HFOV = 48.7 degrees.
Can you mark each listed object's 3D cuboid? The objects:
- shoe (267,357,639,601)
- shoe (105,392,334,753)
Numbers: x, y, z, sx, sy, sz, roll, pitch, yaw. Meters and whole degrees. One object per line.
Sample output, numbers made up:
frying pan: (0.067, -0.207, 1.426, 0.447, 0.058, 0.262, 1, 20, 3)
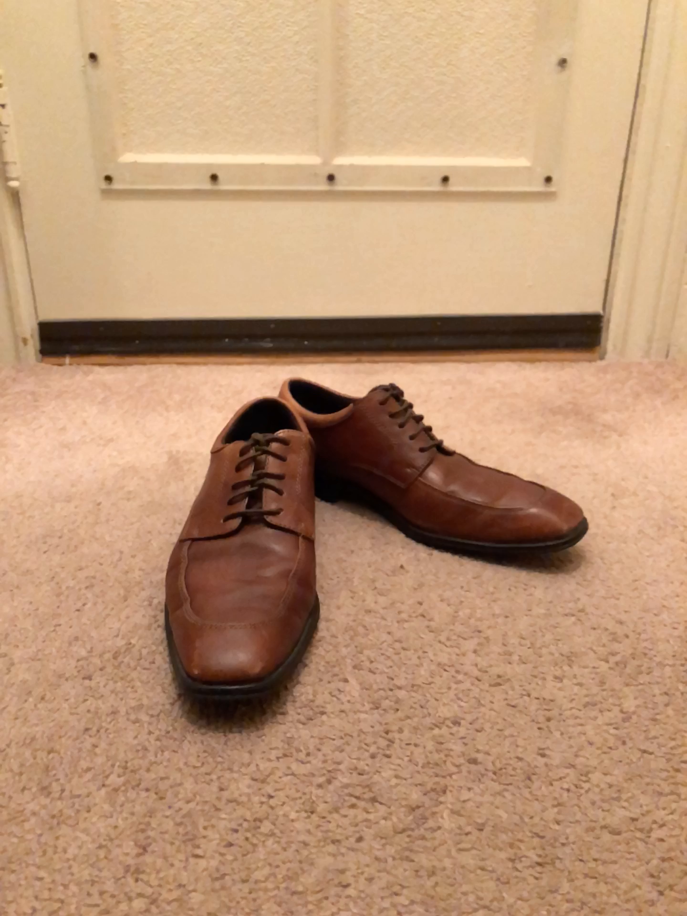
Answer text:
shoe: (0.081, 0.003, 0.663, 0.300, 0.109, 0.100, 17, 28, 32)
shoe: (-0.067, 0.058, 0.561, 0.120, 0.119, 0.302, 0, 24, -1)
